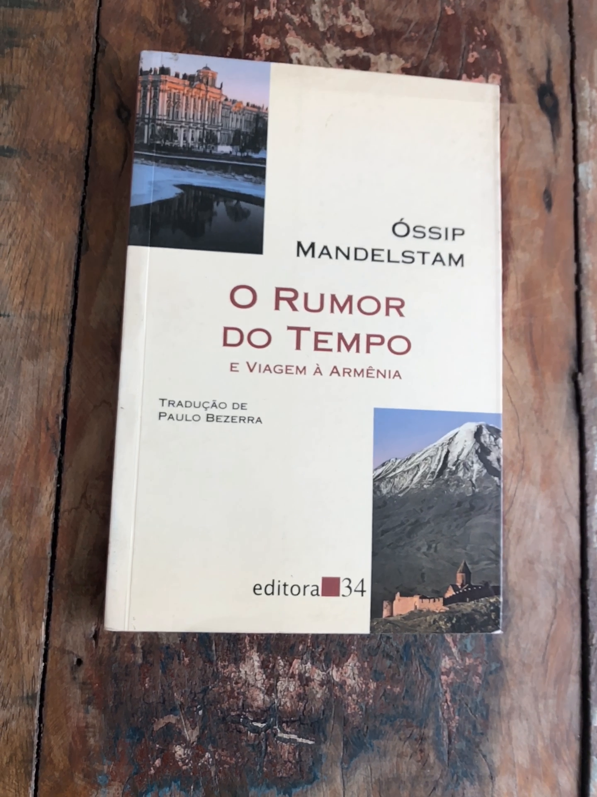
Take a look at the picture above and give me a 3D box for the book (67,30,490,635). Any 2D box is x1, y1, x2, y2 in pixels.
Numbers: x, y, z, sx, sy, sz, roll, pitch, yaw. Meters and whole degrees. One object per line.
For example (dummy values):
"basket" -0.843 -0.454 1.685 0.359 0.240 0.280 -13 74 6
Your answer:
"book" -0.003 -0.024 0.242 0.140 0.022 0.207 2 84 -5
